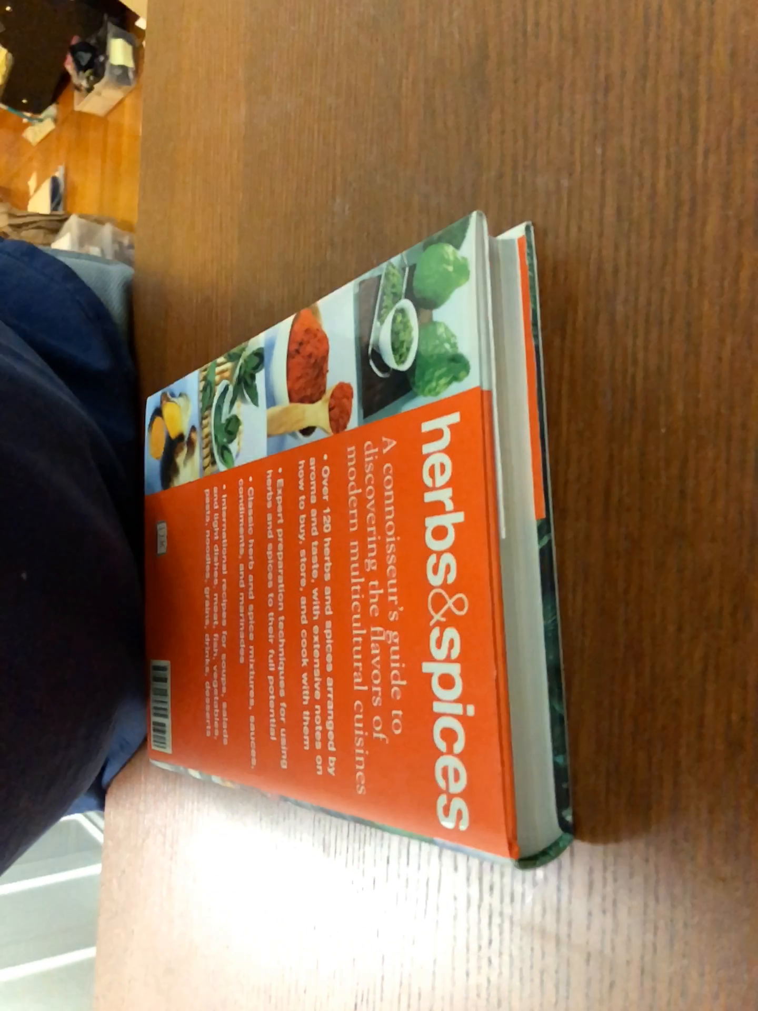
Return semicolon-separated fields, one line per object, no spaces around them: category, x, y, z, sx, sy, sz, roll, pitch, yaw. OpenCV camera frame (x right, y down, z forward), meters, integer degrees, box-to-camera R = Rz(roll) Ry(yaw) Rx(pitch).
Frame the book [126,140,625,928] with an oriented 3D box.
book;-0.032;0.017;0.341;0.271;0.040;0.210;-10;79;52
